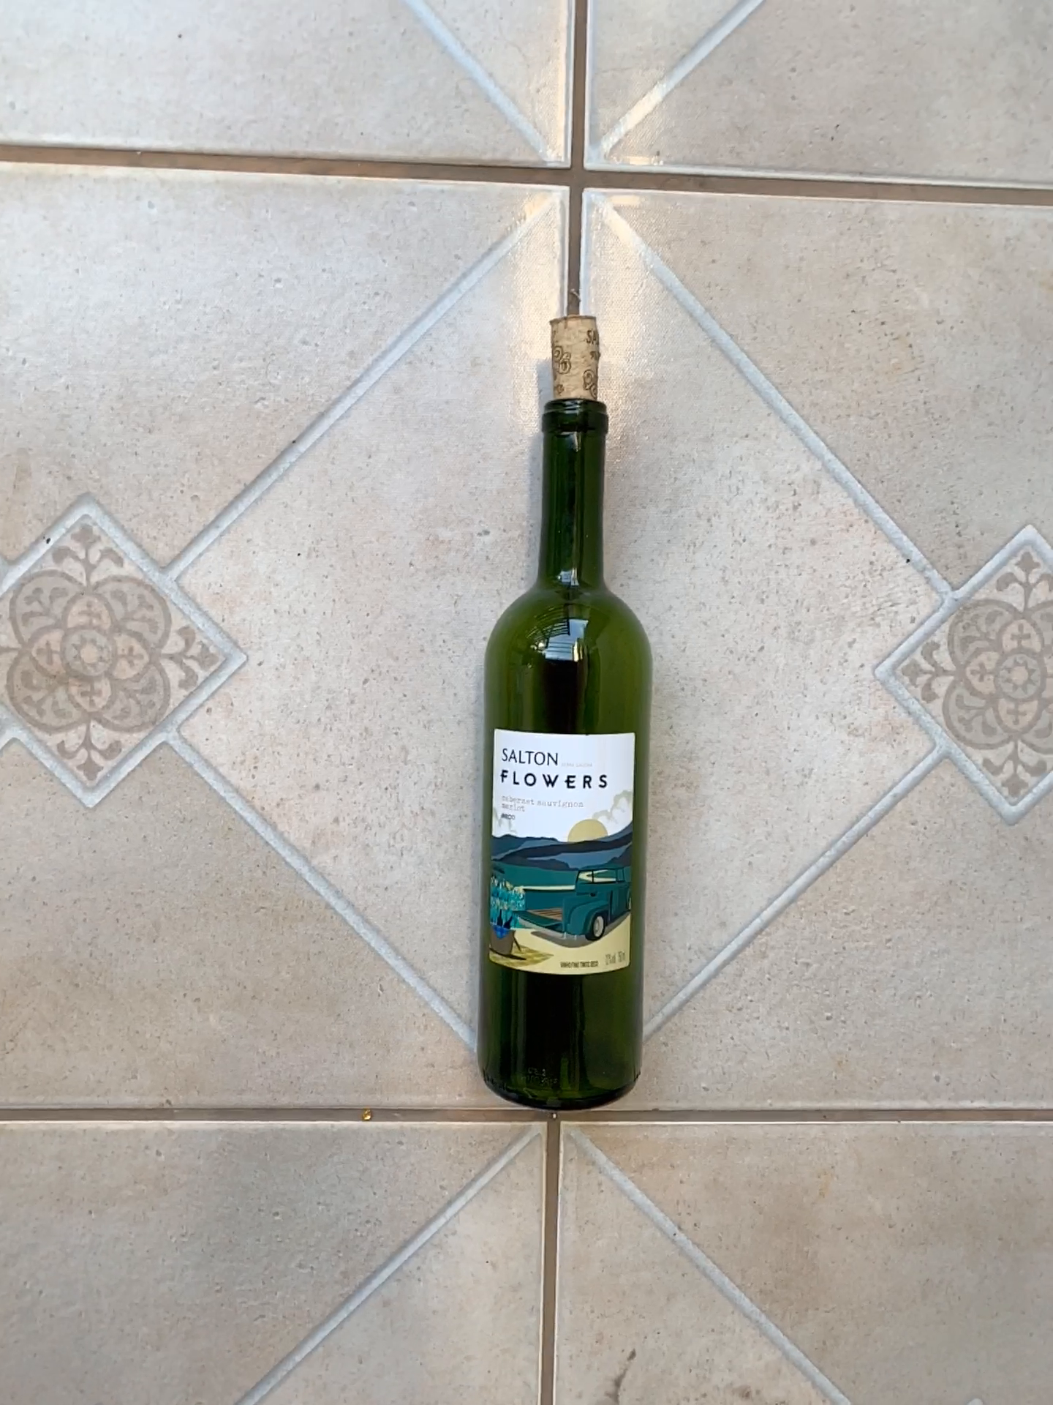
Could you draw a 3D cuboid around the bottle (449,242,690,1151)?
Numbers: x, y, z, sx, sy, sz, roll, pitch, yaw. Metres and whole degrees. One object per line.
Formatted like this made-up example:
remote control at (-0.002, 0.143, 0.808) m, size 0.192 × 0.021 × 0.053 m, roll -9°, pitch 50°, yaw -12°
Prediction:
bottle at (0.018, 0.000, 0.457) m, size 0.080 × 0.080 × 0.350 m, roll 3°, pitch 96°, yaw 5°
